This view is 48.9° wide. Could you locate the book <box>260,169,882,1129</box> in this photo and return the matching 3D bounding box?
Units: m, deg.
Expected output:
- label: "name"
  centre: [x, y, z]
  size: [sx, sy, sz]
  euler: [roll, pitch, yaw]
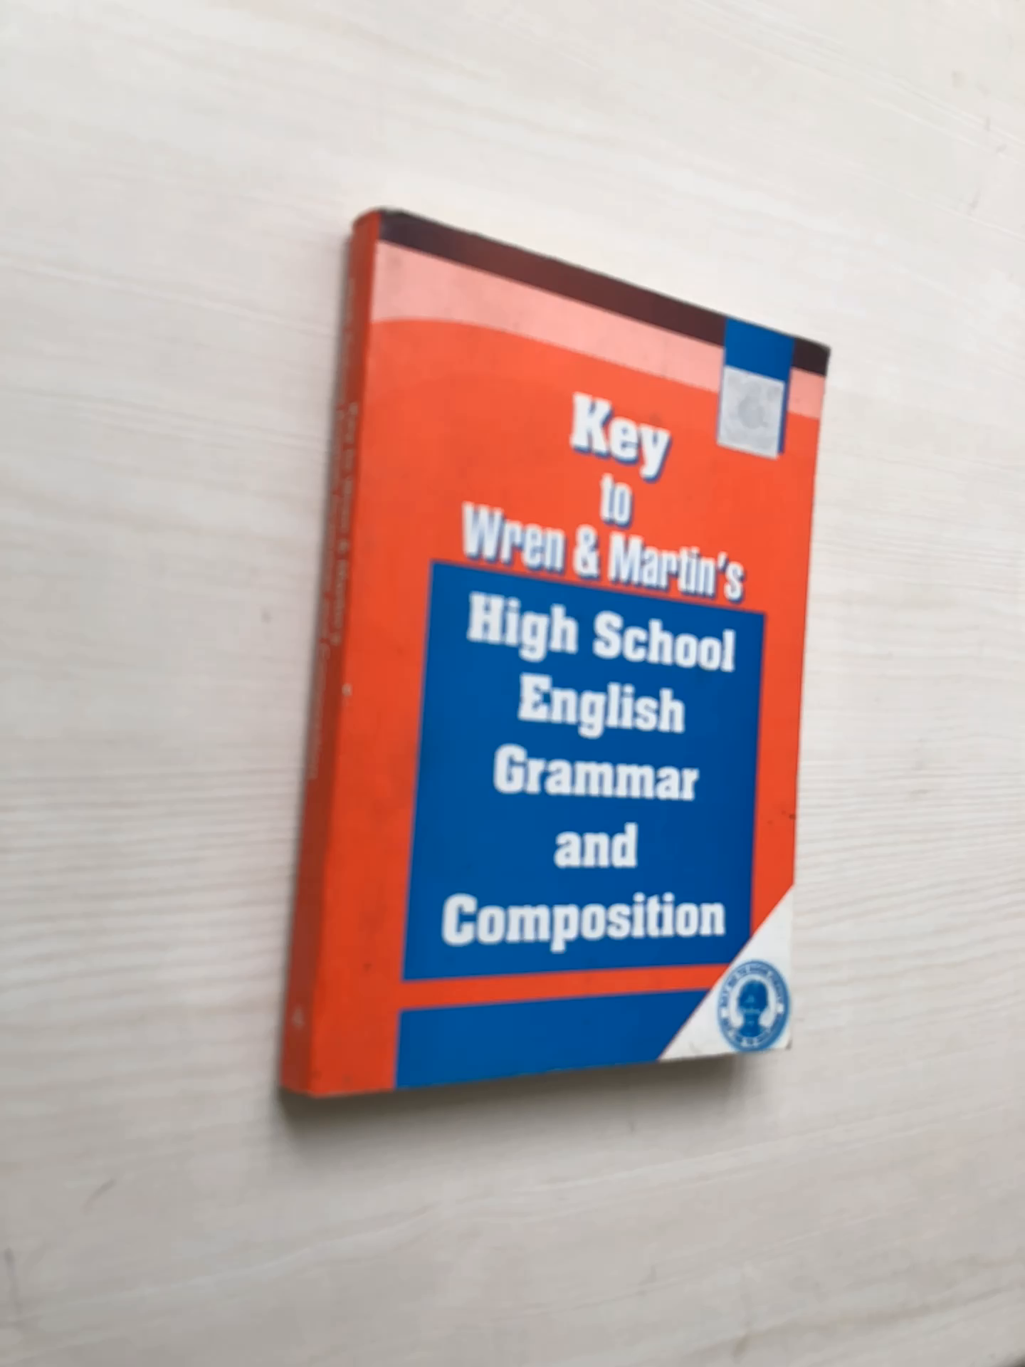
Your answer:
- label: "book"
  centre: [0.021, -0.002, 0.245]
  size: [0.130, 0.030, 0.170]
  euler: [7, 85, -32]
